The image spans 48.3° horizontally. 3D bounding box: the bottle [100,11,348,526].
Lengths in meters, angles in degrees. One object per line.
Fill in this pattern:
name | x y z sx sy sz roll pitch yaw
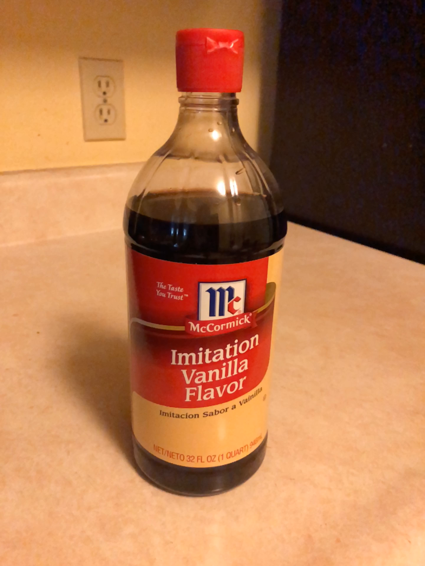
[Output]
bottle | -0.004 -0.001 0.254 0.090 0.239 0.080 -5 23 -15
